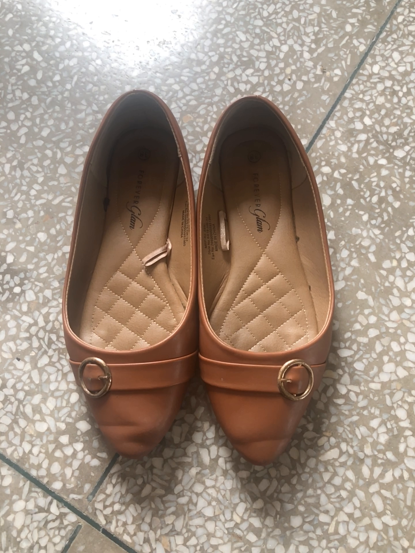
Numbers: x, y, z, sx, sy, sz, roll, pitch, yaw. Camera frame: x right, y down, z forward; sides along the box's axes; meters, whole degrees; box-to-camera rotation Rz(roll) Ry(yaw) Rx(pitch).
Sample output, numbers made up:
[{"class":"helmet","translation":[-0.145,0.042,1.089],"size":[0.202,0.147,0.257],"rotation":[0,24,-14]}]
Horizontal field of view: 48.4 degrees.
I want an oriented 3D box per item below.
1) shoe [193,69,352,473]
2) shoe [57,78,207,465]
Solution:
[{"class":"shoe","translation":[0.042,-0.004,0.316],"size":[0.090,0.050,0.250],"rotation":[-2,86,8]},{"class":"shoe","translation":[-0.052,-0.004,0.328],"size":[0.090,0.050,0.250],"rotation":[-2,86,8]}]
